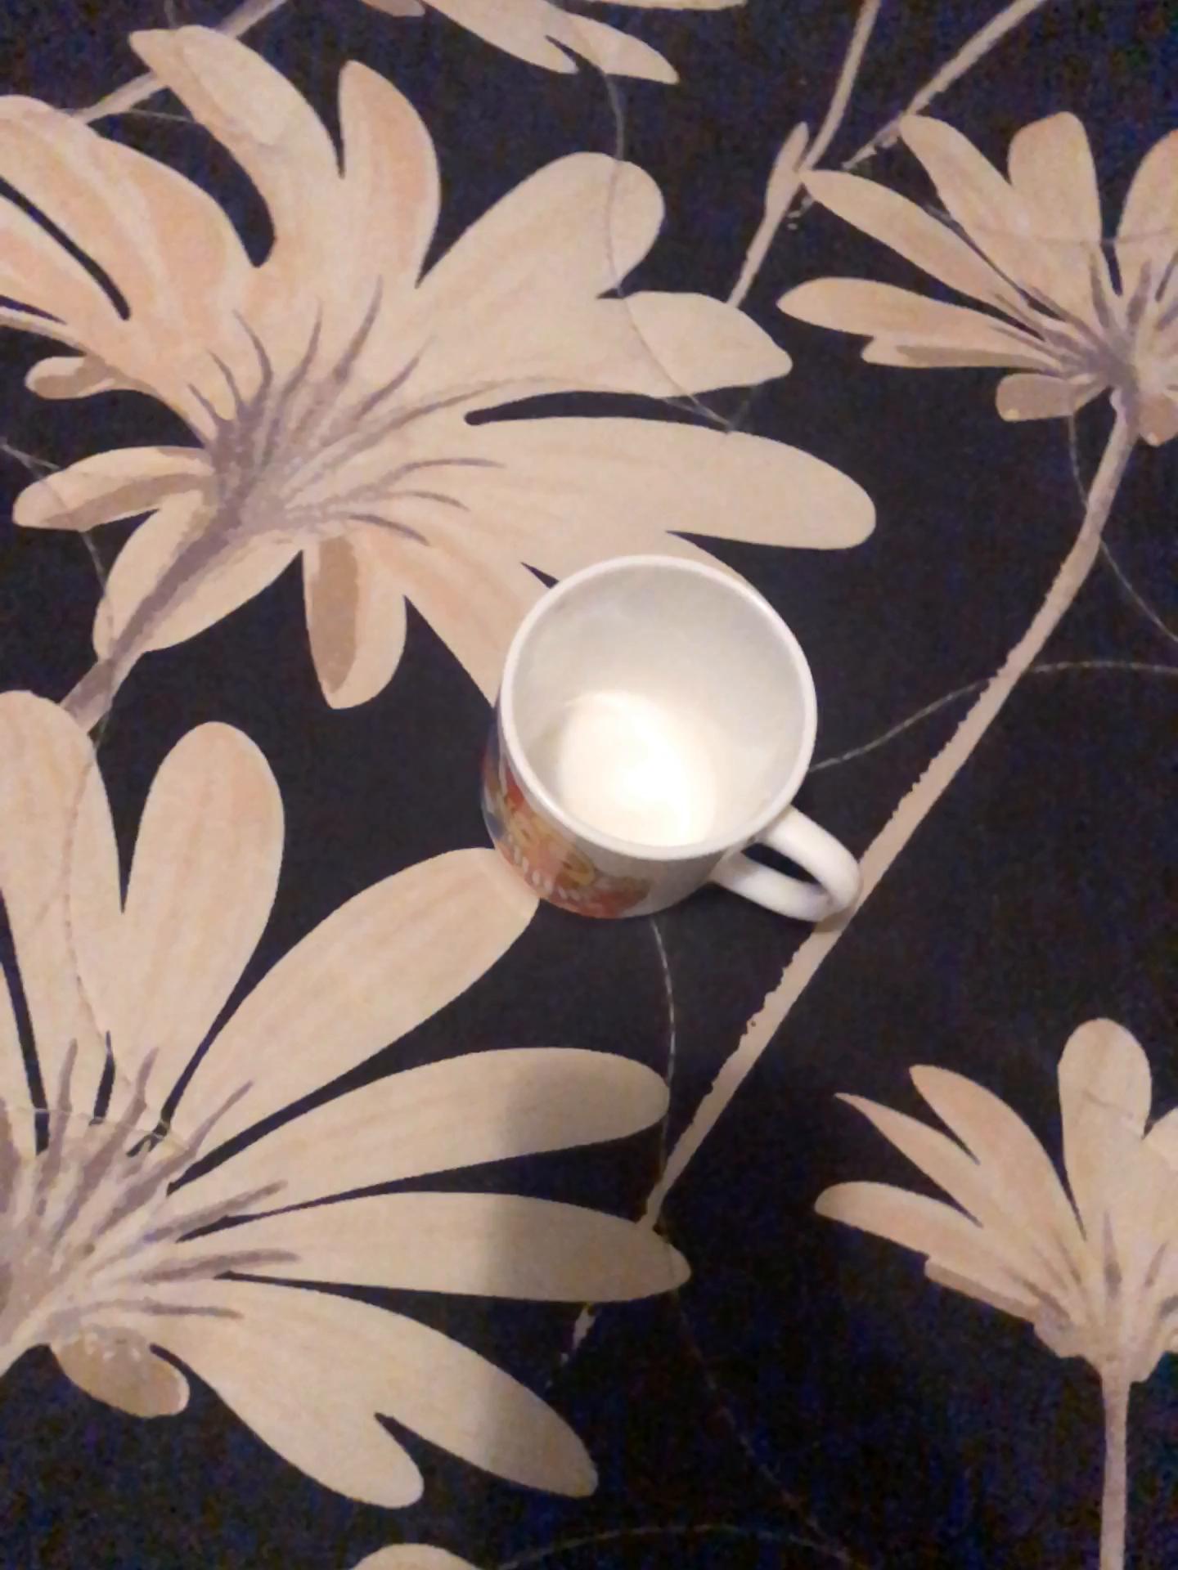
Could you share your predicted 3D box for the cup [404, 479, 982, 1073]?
[{"bbox_3d":[0.022,0.000,0.340,0.108,0.077,0.085,43,71,11],"label":"cup"}]
